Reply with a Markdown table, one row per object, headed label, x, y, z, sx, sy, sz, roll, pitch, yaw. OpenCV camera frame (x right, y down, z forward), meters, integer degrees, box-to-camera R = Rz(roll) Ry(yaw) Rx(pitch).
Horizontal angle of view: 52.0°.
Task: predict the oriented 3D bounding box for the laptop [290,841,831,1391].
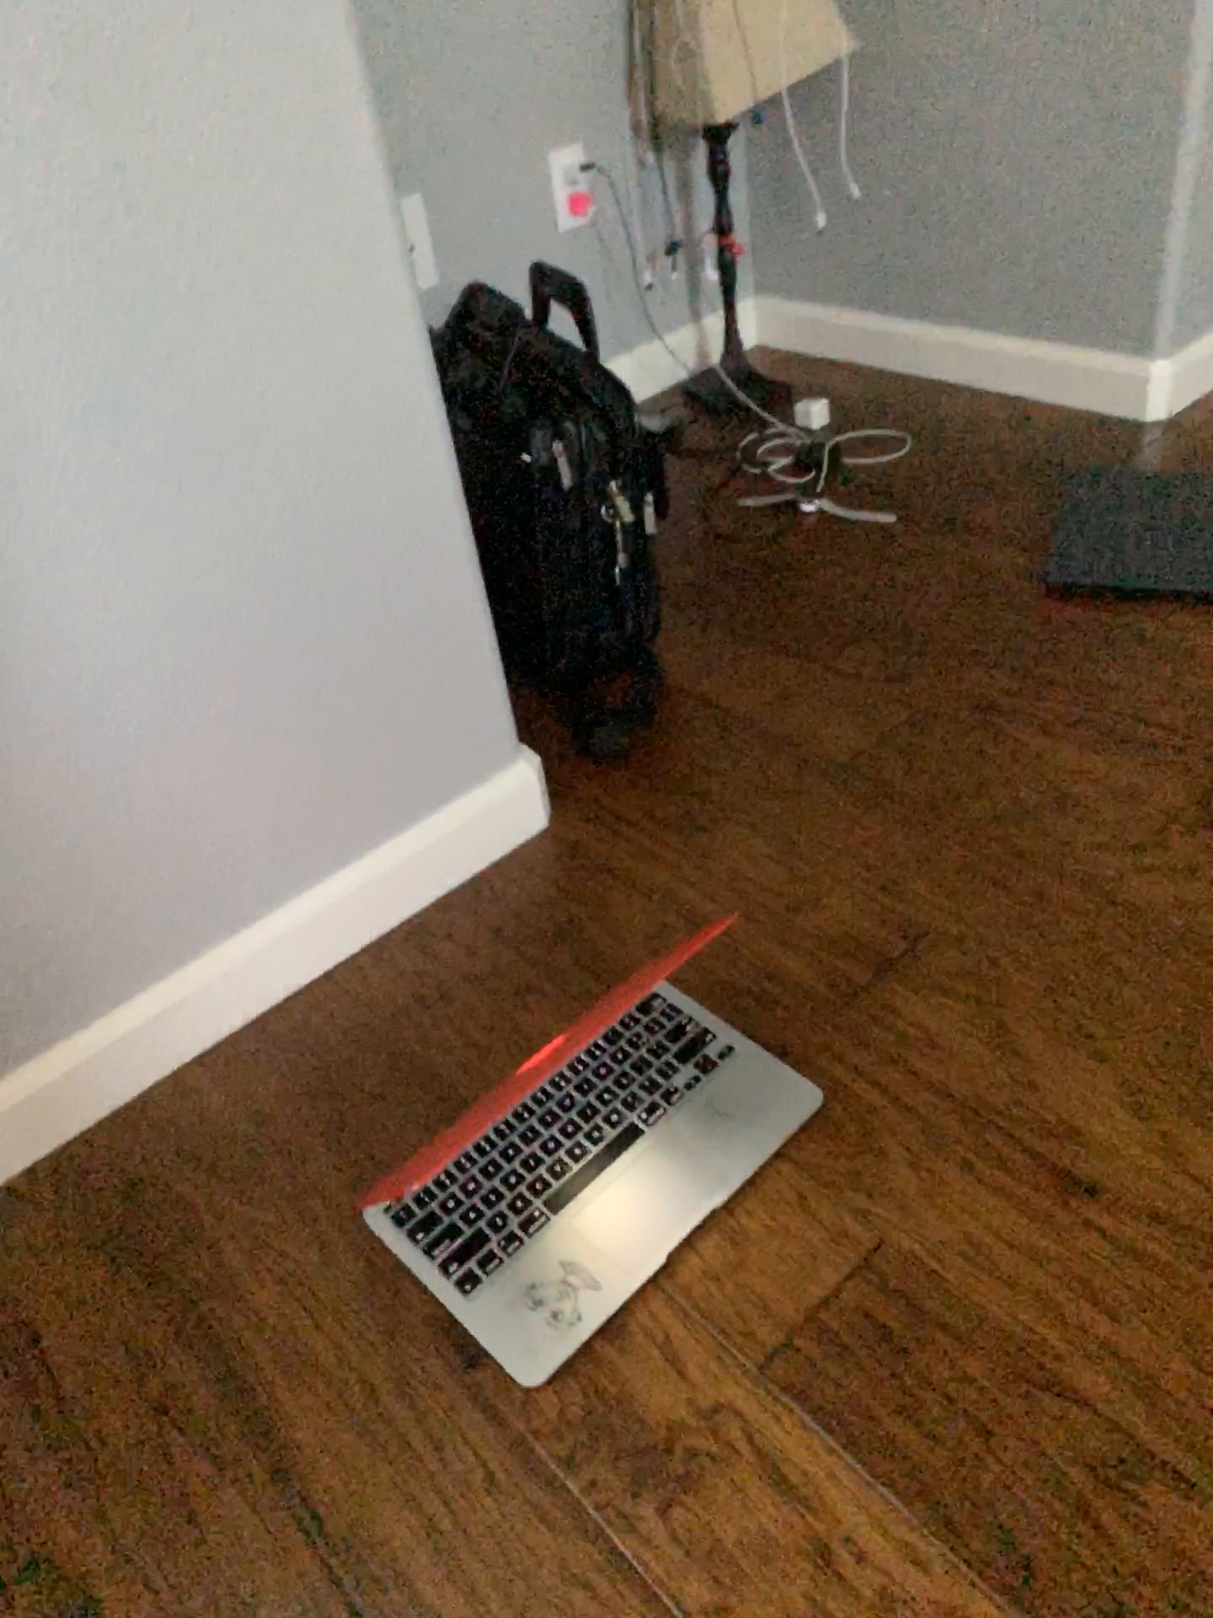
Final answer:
| label | x | y | z | sx | sy | sz | roll | pitch | yaw |
| --- | --- | --- | --- | --- | --- | --- | --- | --- | --- |
| laptop | -0.019 | 0.191 | 0.860 | 0.302 | 0.139 | 0.198 | -35 | 44 | -31 |
